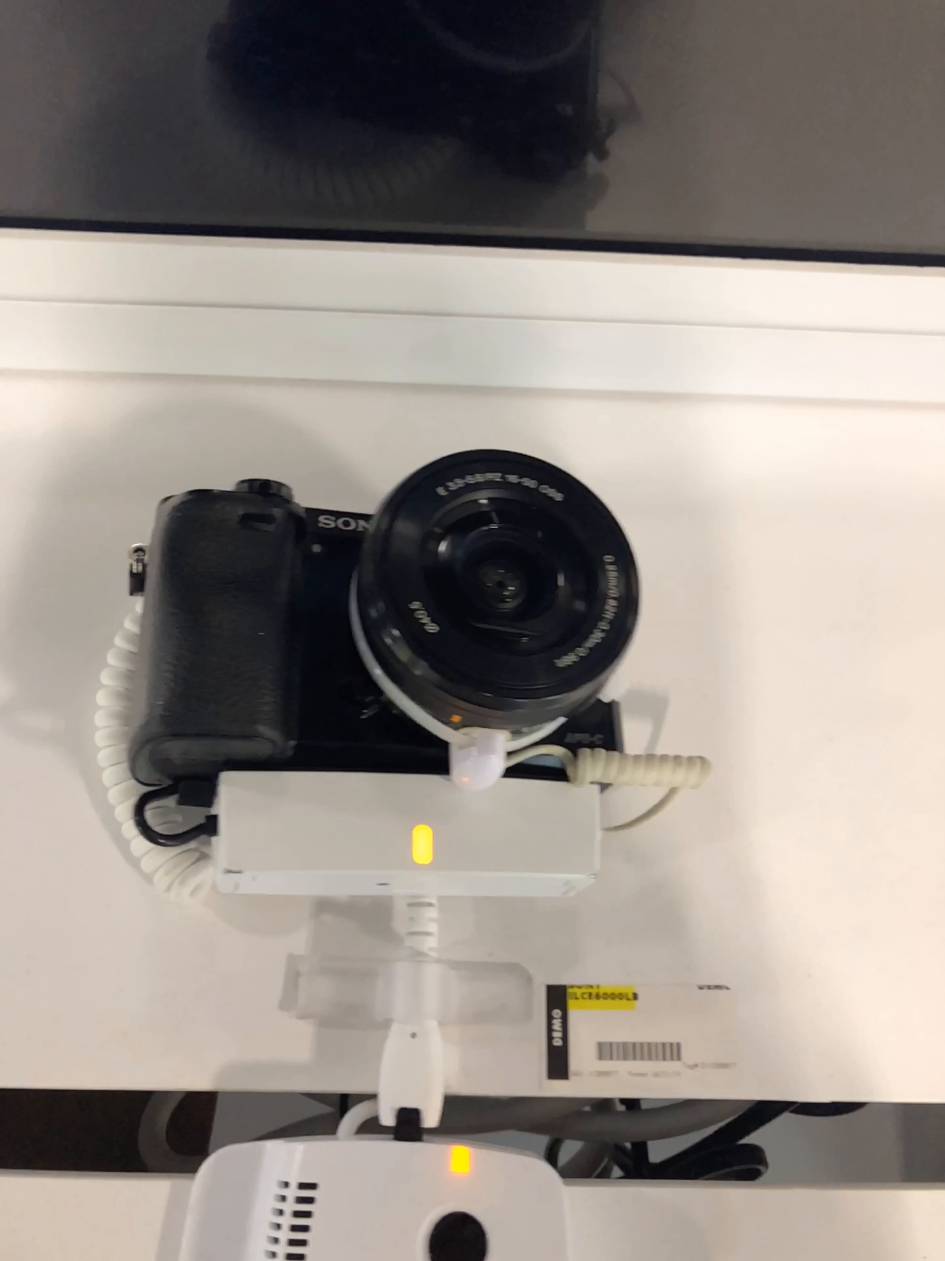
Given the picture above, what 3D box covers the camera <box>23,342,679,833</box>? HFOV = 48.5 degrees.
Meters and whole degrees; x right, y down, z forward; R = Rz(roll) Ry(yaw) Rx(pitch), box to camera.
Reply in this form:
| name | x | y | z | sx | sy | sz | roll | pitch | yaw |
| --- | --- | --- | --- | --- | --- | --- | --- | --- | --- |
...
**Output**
| name | x | y | z | sx | sy | sz | roll | pitch | yaw |
| --- | --- | --- | --- | --- | --- | --- | --- | --- | --- |
| camera | -0.027 | -0.005 | 0.258 | 0.130 | 0.070 | 0.090 | 4 | 67 | -10 |
